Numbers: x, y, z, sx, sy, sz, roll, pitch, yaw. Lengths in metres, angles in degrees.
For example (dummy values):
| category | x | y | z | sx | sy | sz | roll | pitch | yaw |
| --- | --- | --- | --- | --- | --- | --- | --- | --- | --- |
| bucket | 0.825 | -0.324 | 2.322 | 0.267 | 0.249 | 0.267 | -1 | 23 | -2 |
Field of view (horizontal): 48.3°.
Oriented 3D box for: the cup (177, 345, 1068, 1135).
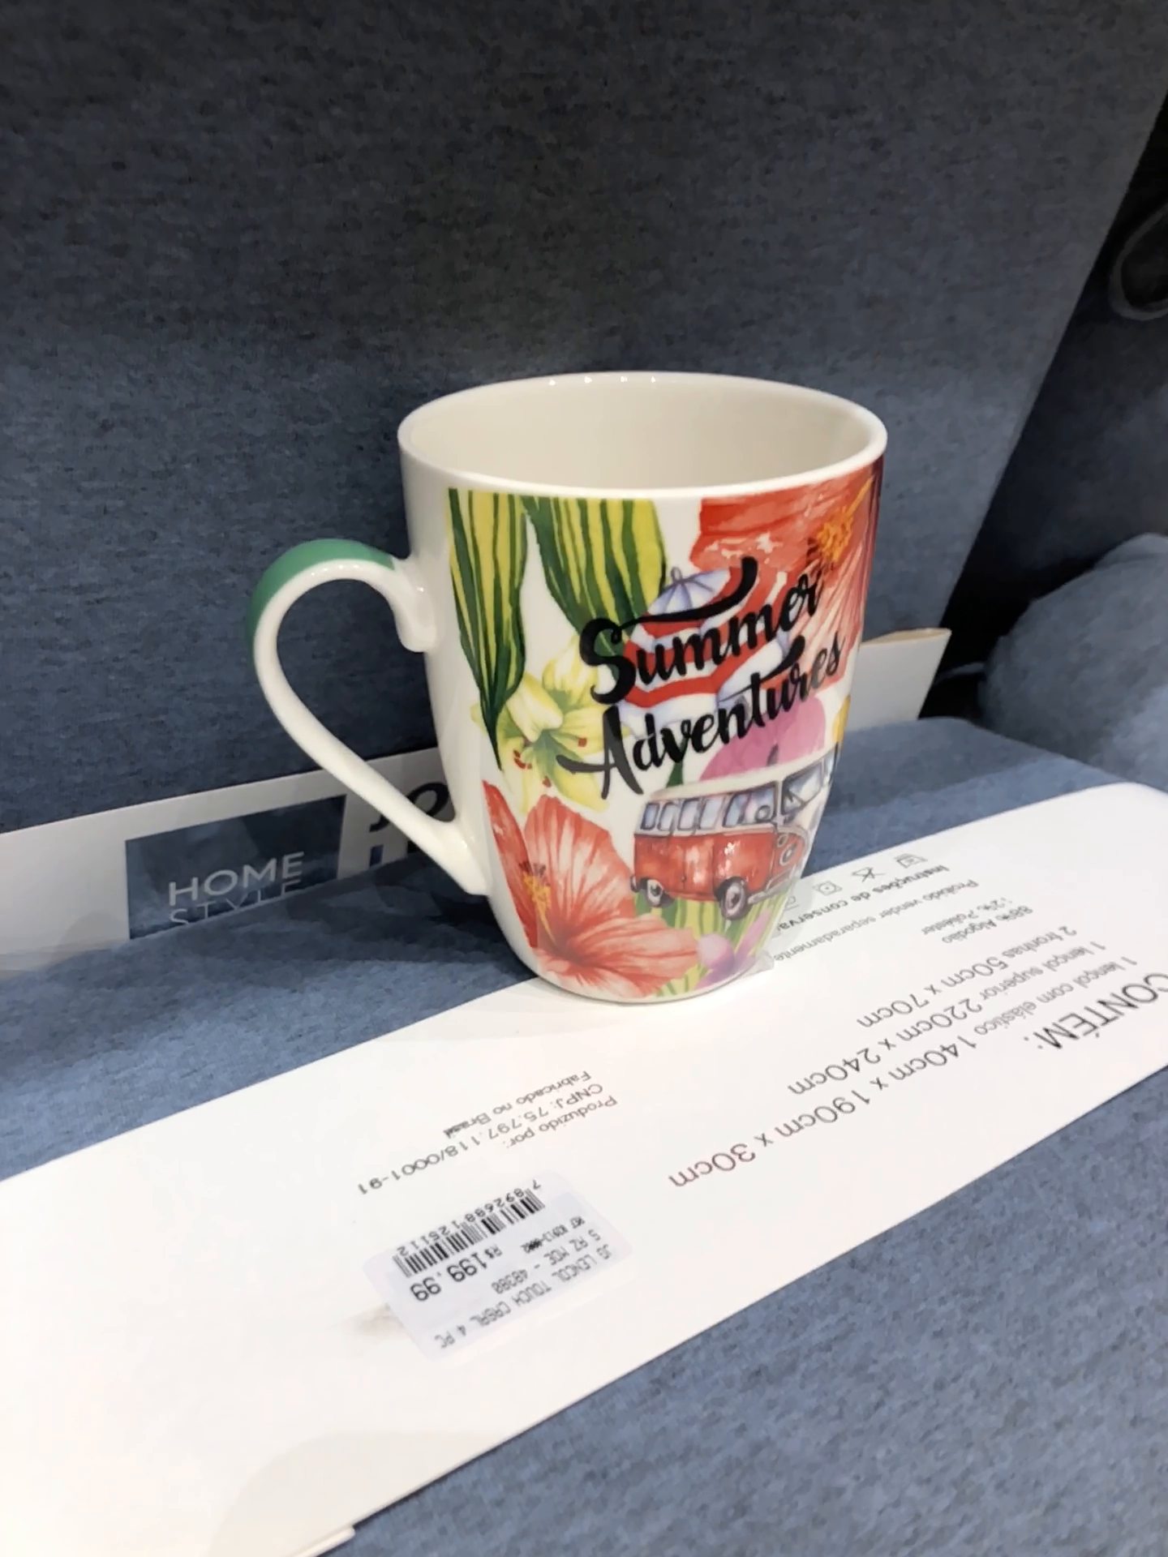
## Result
| category | x | y | z | sx | sy | sz | roll | pitch | yaw |
| --- | --- | --- | --- | --- | --- | --- | --- | --- | --- |
| cup | 0.003 | -0.019 | 0.224 | 0.110 | 0.090 | 0.090 | -14 | 28 | -26 |
